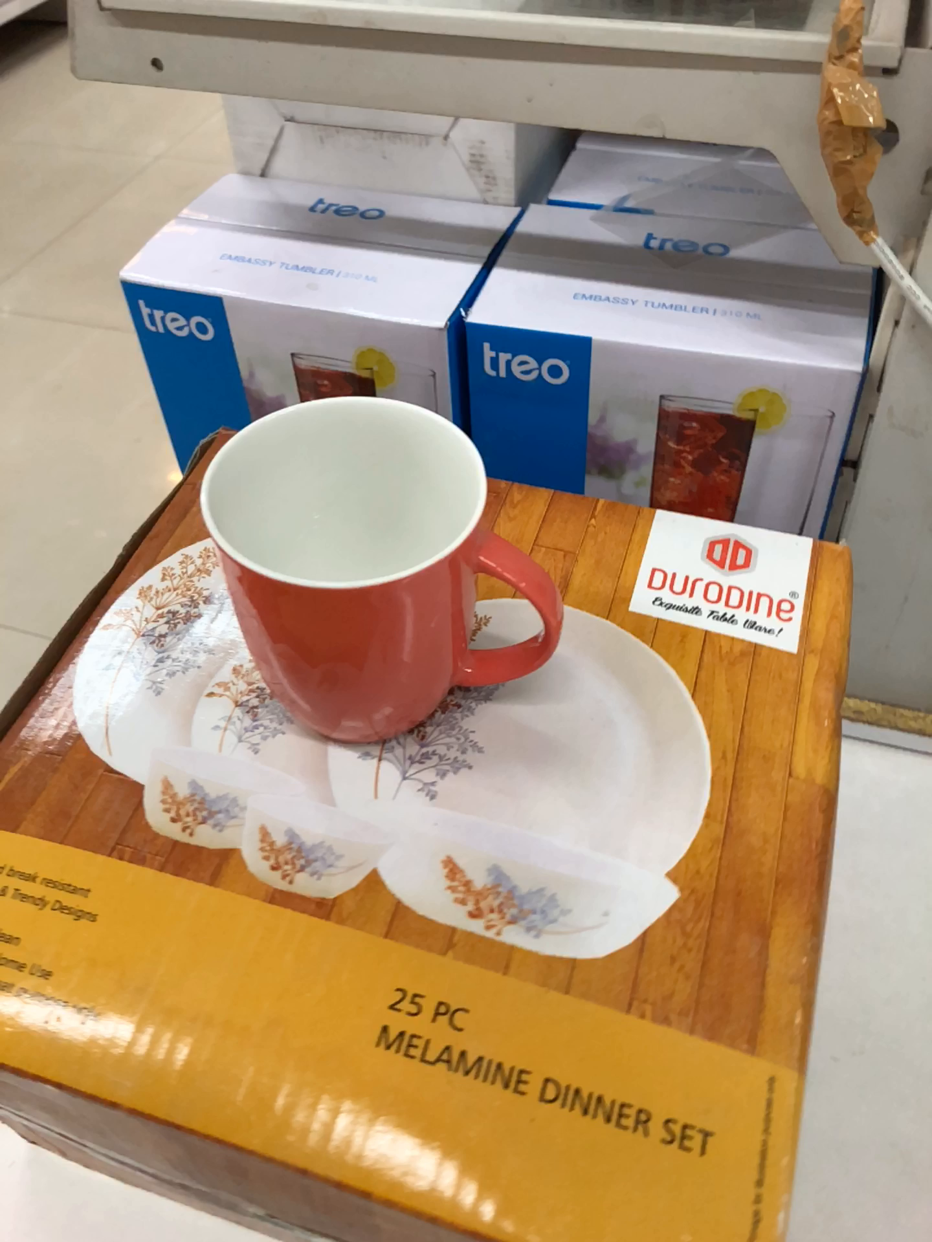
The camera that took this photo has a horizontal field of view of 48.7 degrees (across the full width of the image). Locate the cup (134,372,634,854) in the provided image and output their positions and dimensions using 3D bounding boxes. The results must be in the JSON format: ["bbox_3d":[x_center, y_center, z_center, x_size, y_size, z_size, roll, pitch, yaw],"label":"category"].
[{"bbox_3d":[-0.018,-0.005,0.337,0.120,0.099,0.091,14,49,17],"label":"cup"}]
